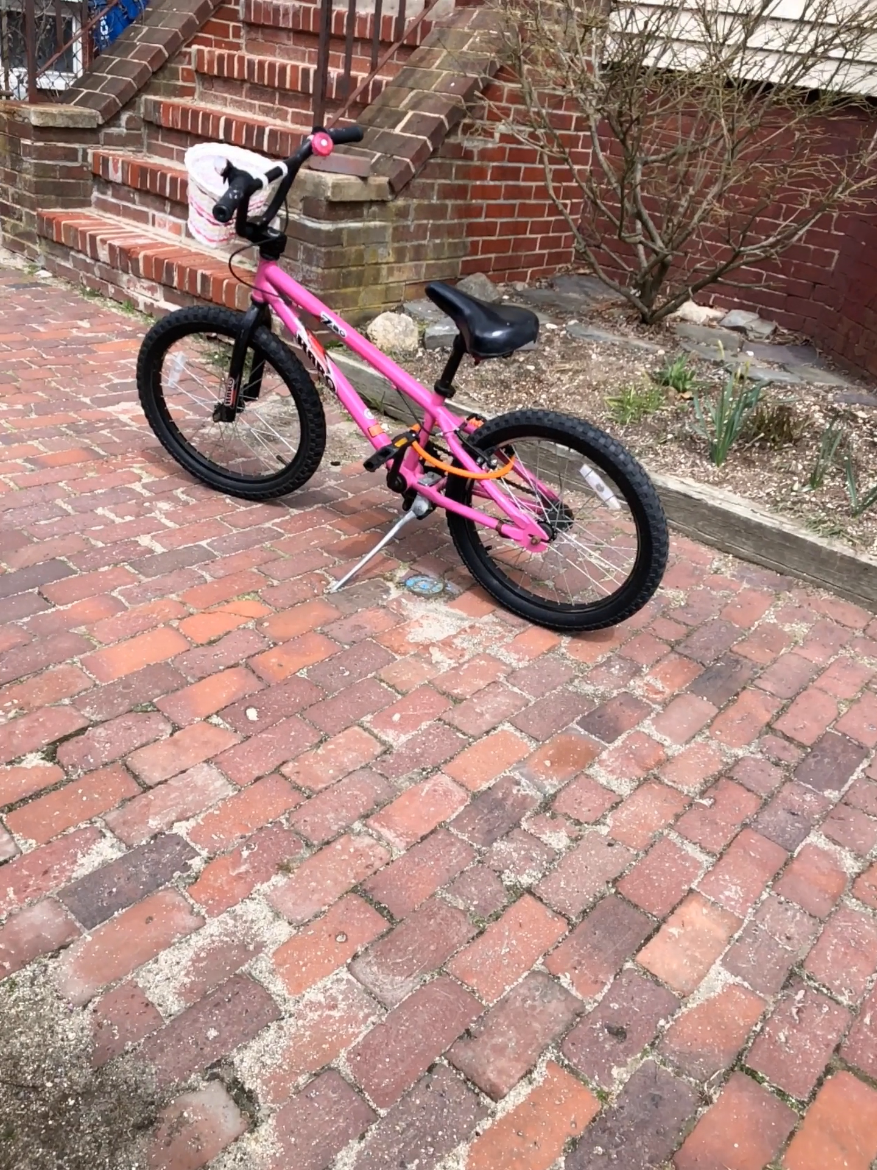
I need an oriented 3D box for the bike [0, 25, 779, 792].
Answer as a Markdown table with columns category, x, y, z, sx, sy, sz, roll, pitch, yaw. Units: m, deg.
| category | x | y | z | sx | sy | sz | roll | pitch | yaw |
| --- | --- | --- | --- | --- | --- | --- | --- | --- | --- |
| bike | -0.187 | -0.426 | 1.917 | 1.338 | 0.906 | 0.714 | 23 | 31 | 20 |
